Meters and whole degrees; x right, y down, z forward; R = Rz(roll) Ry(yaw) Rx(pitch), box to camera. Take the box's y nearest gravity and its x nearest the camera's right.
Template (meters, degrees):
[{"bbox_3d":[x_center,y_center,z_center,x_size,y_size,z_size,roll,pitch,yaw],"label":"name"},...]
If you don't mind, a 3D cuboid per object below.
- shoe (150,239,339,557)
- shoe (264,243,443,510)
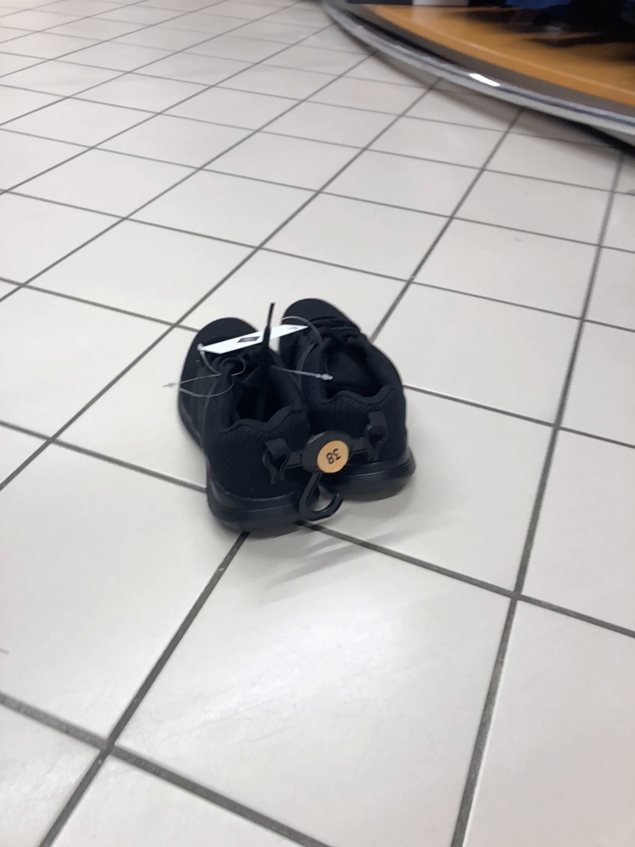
[{"bbox_3d":[-0.072,-0.038,0.597,0.100,0.119,0.271,-9,41,-13],"label":"shoe"},{"bbox_3d":[0.019,-0.056,0.643,0.100,0.109,0.251,-6,41,-10],"label":"shoe"}]
